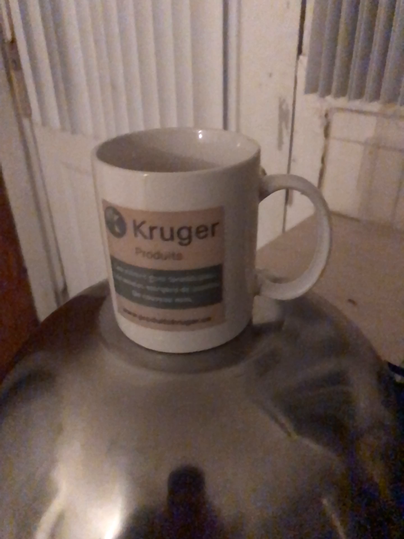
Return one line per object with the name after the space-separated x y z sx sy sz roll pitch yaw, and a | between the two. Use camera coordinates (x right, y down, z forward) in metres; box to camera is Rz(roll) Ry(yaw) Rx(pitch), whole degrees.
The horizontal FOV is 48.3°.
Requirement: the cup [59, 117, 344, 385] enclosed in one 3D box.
0.006 -0.017 0.251 0.120 0.109 0.091 5 31 11 | cup
